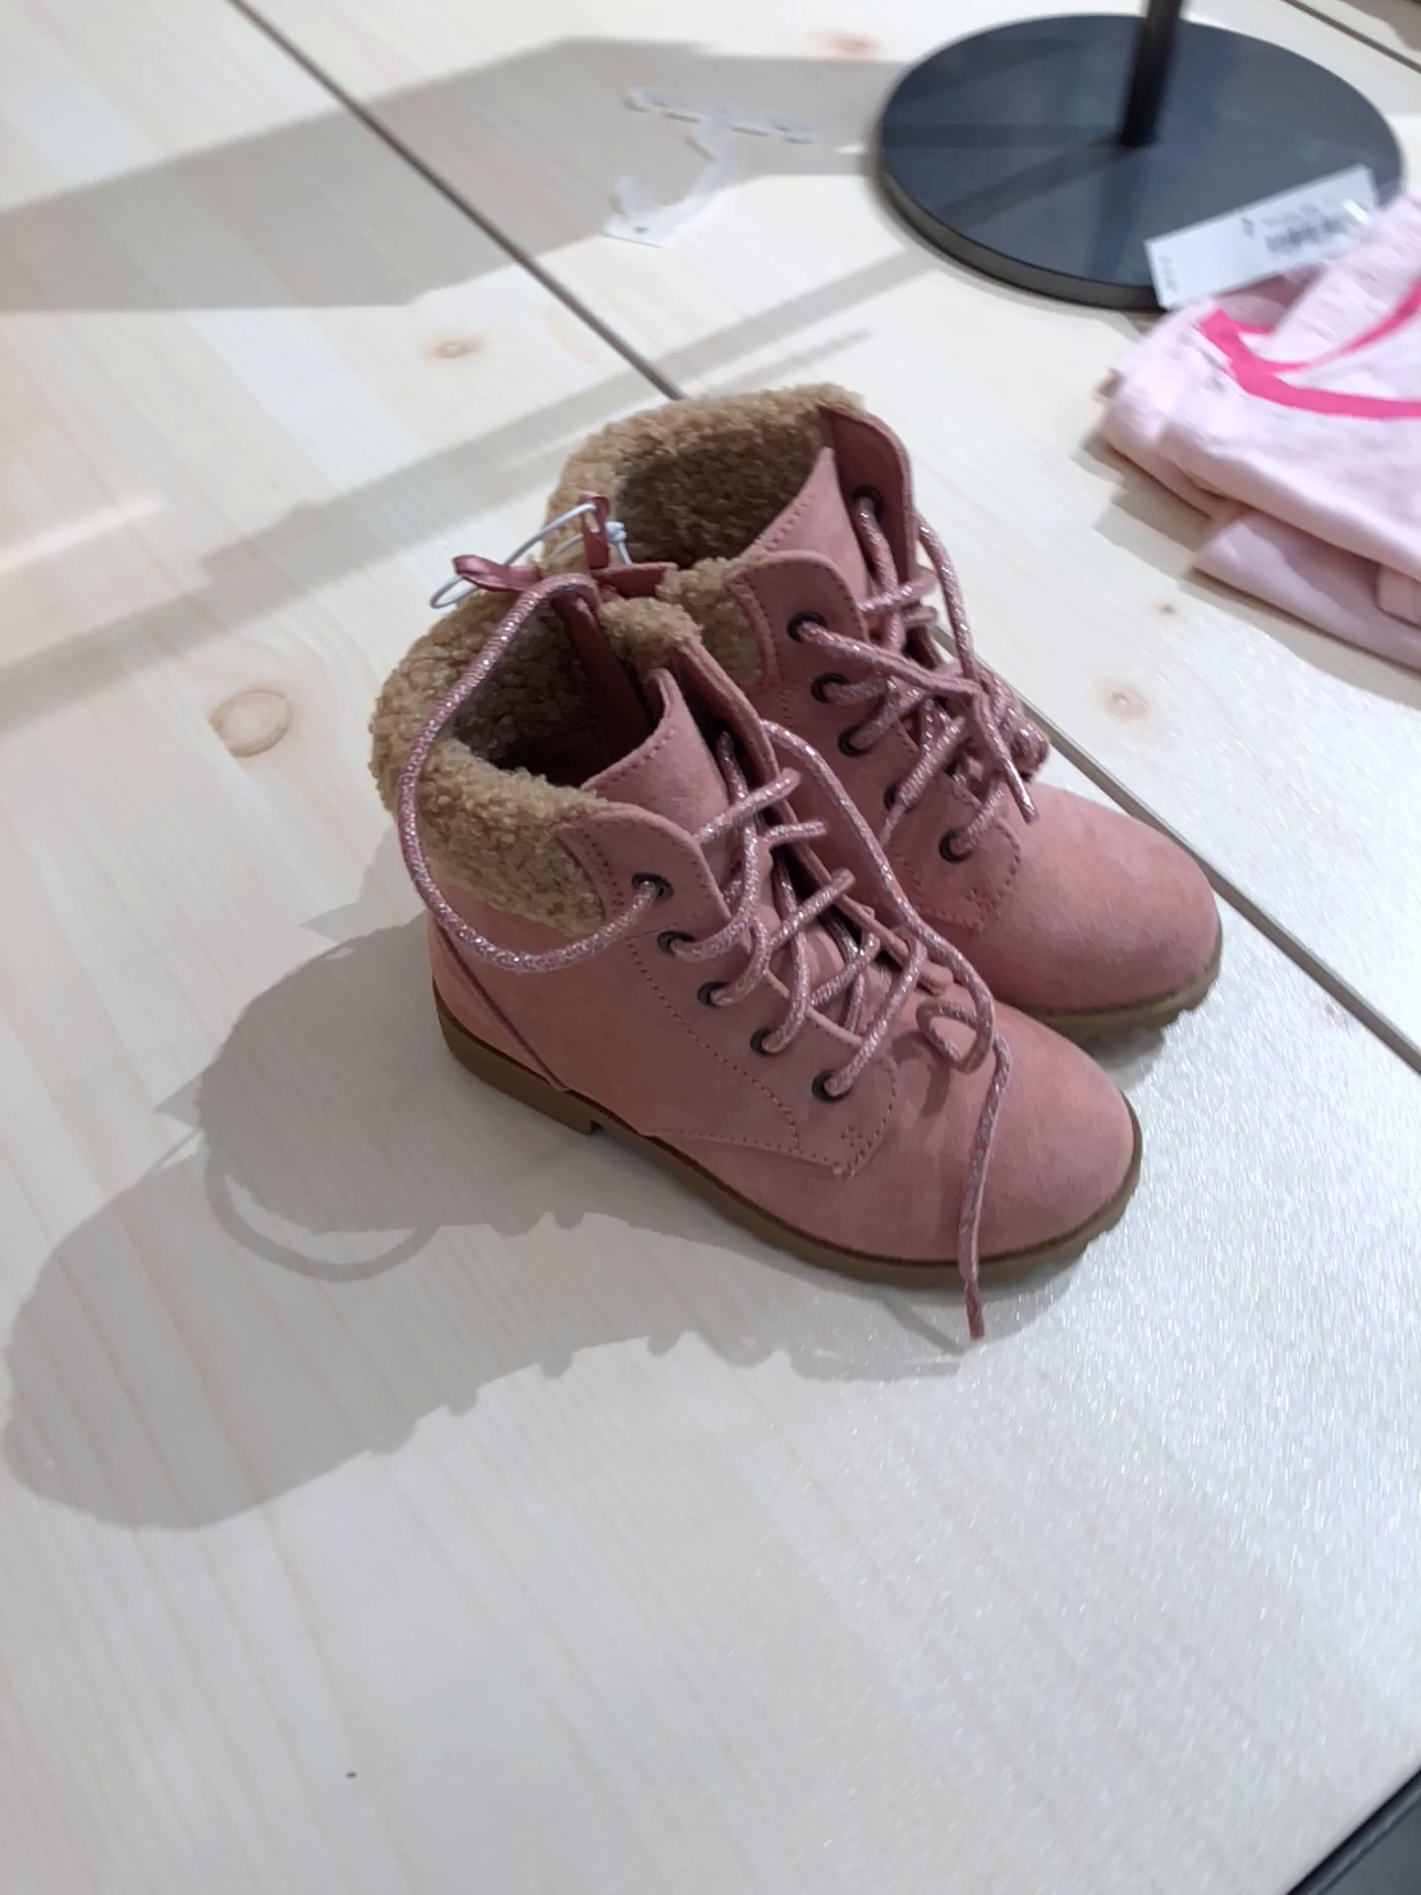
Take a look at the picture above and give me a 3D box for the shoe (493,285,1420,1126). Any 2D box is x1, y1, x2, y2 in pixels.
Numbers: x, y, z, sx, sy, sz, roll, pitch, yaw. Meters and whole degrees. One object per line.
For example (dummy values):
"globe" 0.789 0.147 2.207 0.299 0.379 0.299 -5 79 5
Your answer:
"shoe" 0.048 -0.051 0.347 0.160 0.120 0.080 20 57 14

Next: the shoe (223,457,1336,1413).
"shoe" 0.012 0.000 0.302 0.160 0.120 0.080 20 57 14
